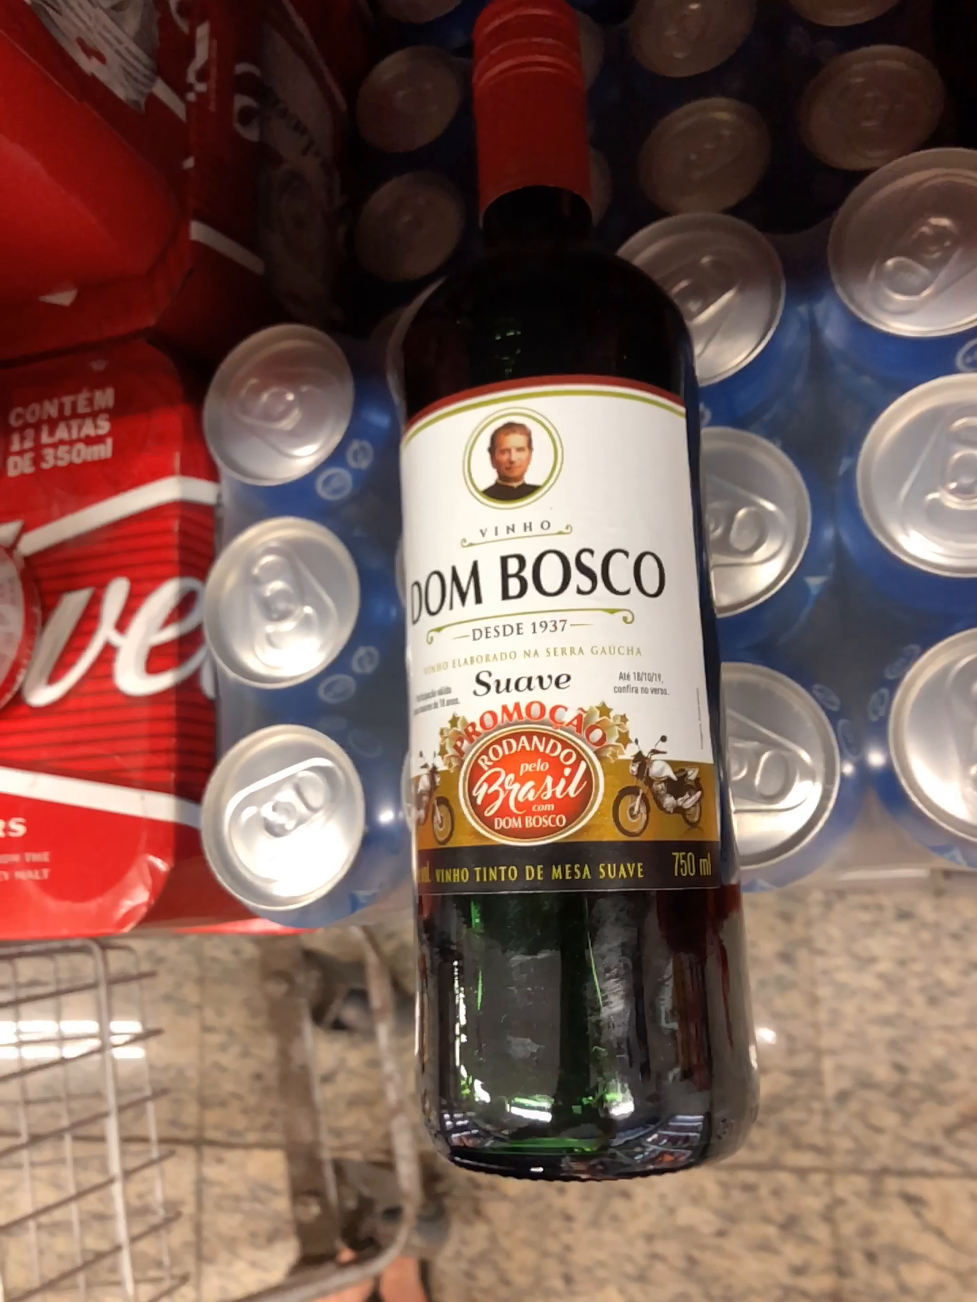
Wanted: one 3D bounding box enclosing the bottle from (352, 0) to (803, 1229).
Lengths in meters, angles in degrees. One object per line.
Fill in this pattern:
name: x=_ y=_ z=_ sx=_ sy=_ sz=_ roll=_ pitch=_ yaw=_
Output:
bottle: x=0.020 y=-0.033 z=0.271 sx=0.080 sy=0.070 sz=0.300 roll=-6 pitch=79 yaw=19
